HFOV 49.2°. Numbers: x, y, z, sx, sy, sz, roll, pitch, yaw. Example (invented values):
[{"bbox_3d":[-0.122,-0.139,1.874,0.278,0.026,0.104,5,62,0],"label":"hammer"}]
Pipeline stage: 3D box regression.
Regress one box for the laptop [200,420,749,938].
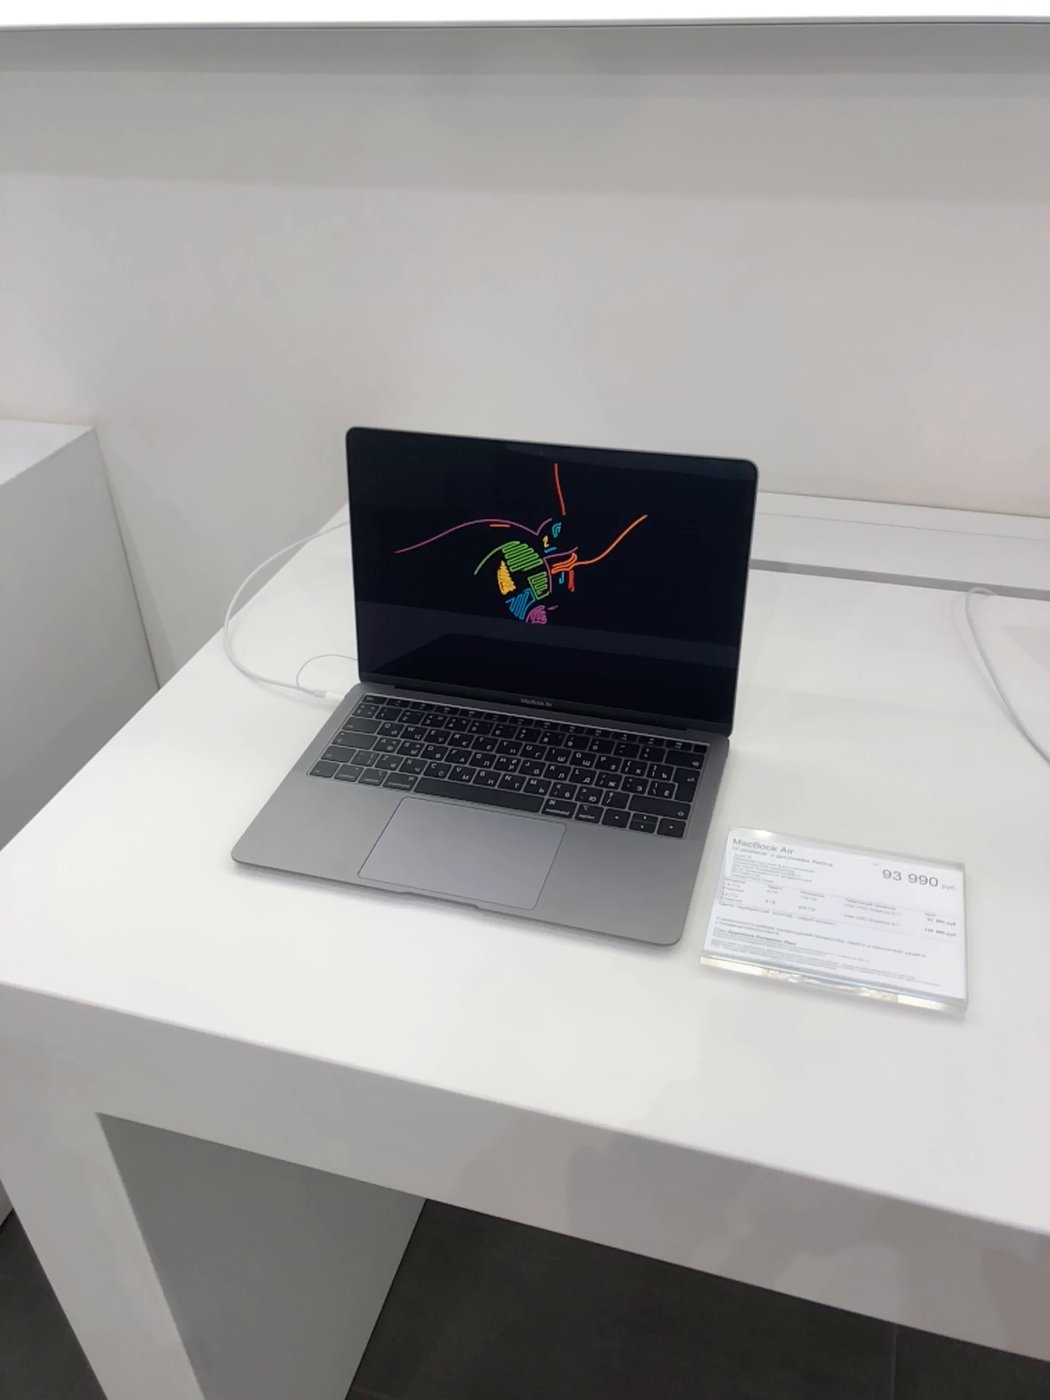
[{"bbox_3d":[-0.014,-0.032,0.765,0.285,0.194,0.251,8,37,14],"label":"laptop"}]
